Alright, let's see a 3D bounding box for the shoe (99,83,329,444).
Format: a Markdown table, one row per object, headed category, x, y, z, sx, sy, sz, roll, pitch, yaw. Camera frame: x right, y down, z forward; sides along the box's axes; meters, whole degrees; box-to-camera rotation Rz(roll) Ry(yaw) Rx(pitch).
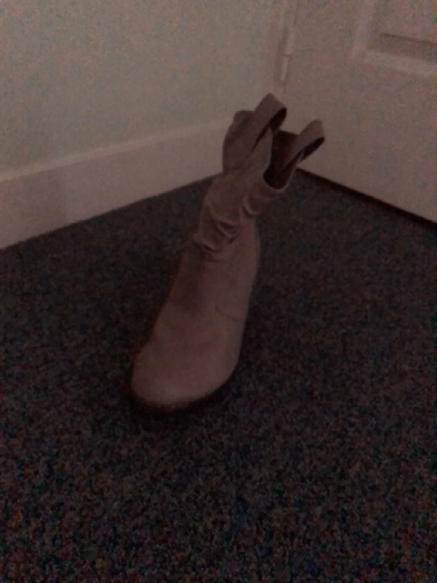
| category | x | y | z | sx | sy | sz | roll | pitch | yaw |
| --- | --- | --- | --- | --- | --- | --- | --- | --- | --- |
| shoe | 0.007 | -0.042 | 0.446 | 0.130 | 0.219 | 0.242 | 12 | 35 | 8 |
